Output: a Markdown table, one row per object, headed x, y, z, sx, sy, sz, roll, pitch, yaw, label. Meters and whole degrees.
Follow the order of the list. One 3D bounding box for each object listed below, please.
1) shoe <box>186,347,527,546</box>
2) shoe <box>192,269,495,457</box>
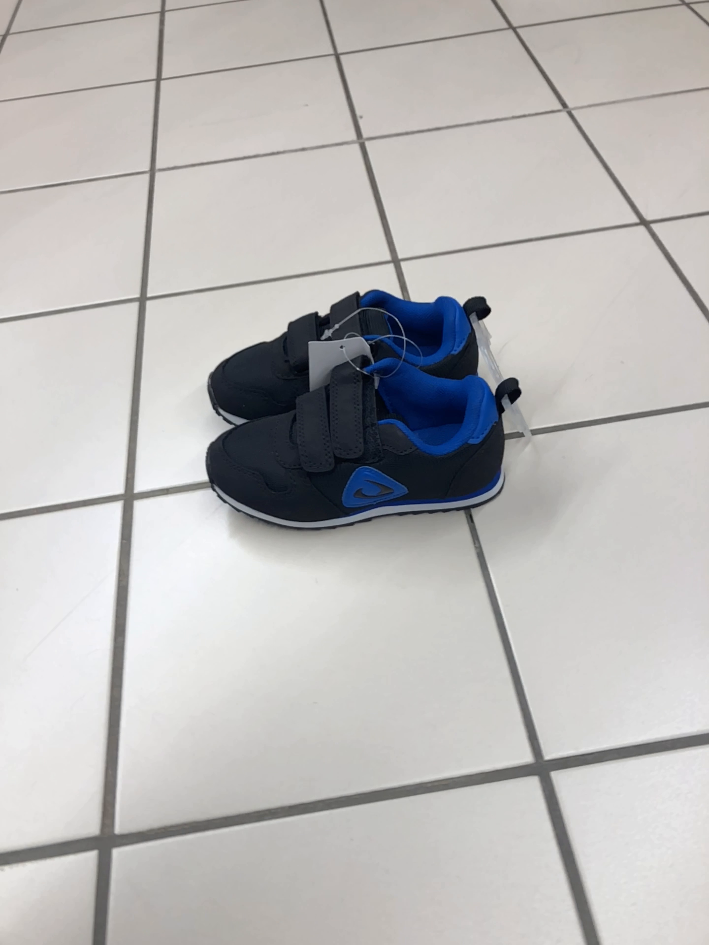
| x | y | z | sx | sy | sz | roll | pitch | yaw | label |
| --- | --- | --- | --- | --- | --- | --- | --- | --- | --- |
| 0.002 | -0.014 | 0.446 | 0.174 | 0.073 | 0.067 | -5 | 49 | 2 | shoe |
| -0.006 | -0.069 | 0.494 | 0.174 | 0.073 | 0.067 | -6 | 49 | 1 | shoe |
